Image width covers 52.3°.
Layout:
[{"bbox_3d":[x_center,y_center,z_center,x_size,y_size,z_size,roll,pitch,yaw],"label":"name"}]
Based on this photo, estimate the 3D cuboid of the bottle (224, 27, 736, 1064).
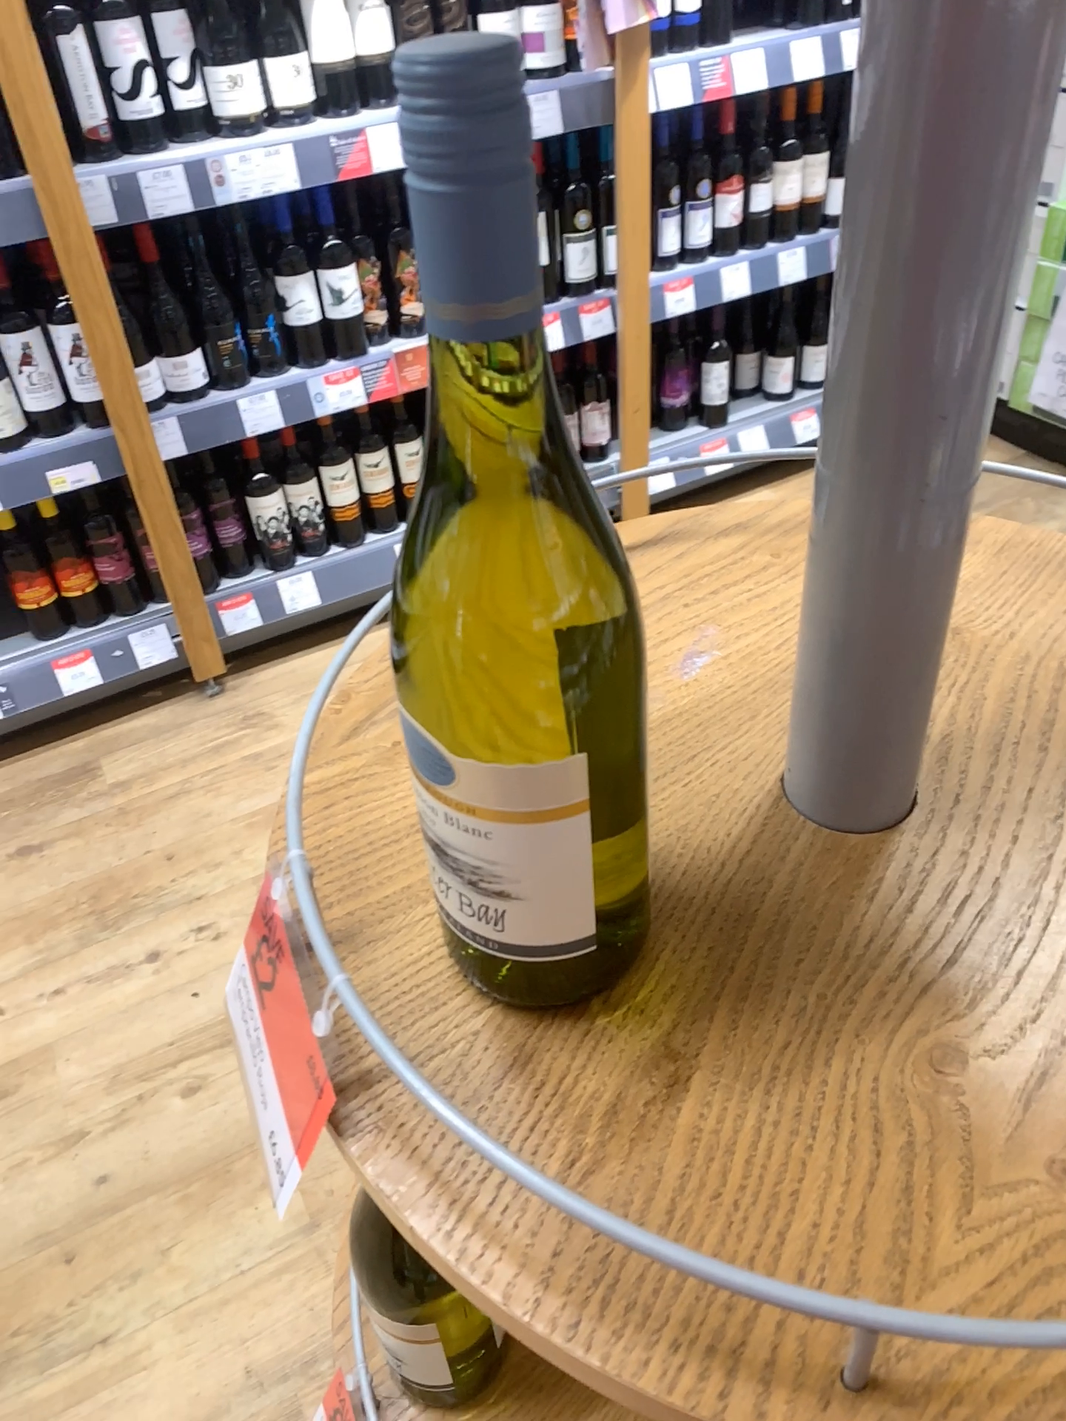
[{"bbox_3d":[-0.004,-0.027,0.321,0.080,0.284,0.081,-3,39,3],"label":"bottle"}]
